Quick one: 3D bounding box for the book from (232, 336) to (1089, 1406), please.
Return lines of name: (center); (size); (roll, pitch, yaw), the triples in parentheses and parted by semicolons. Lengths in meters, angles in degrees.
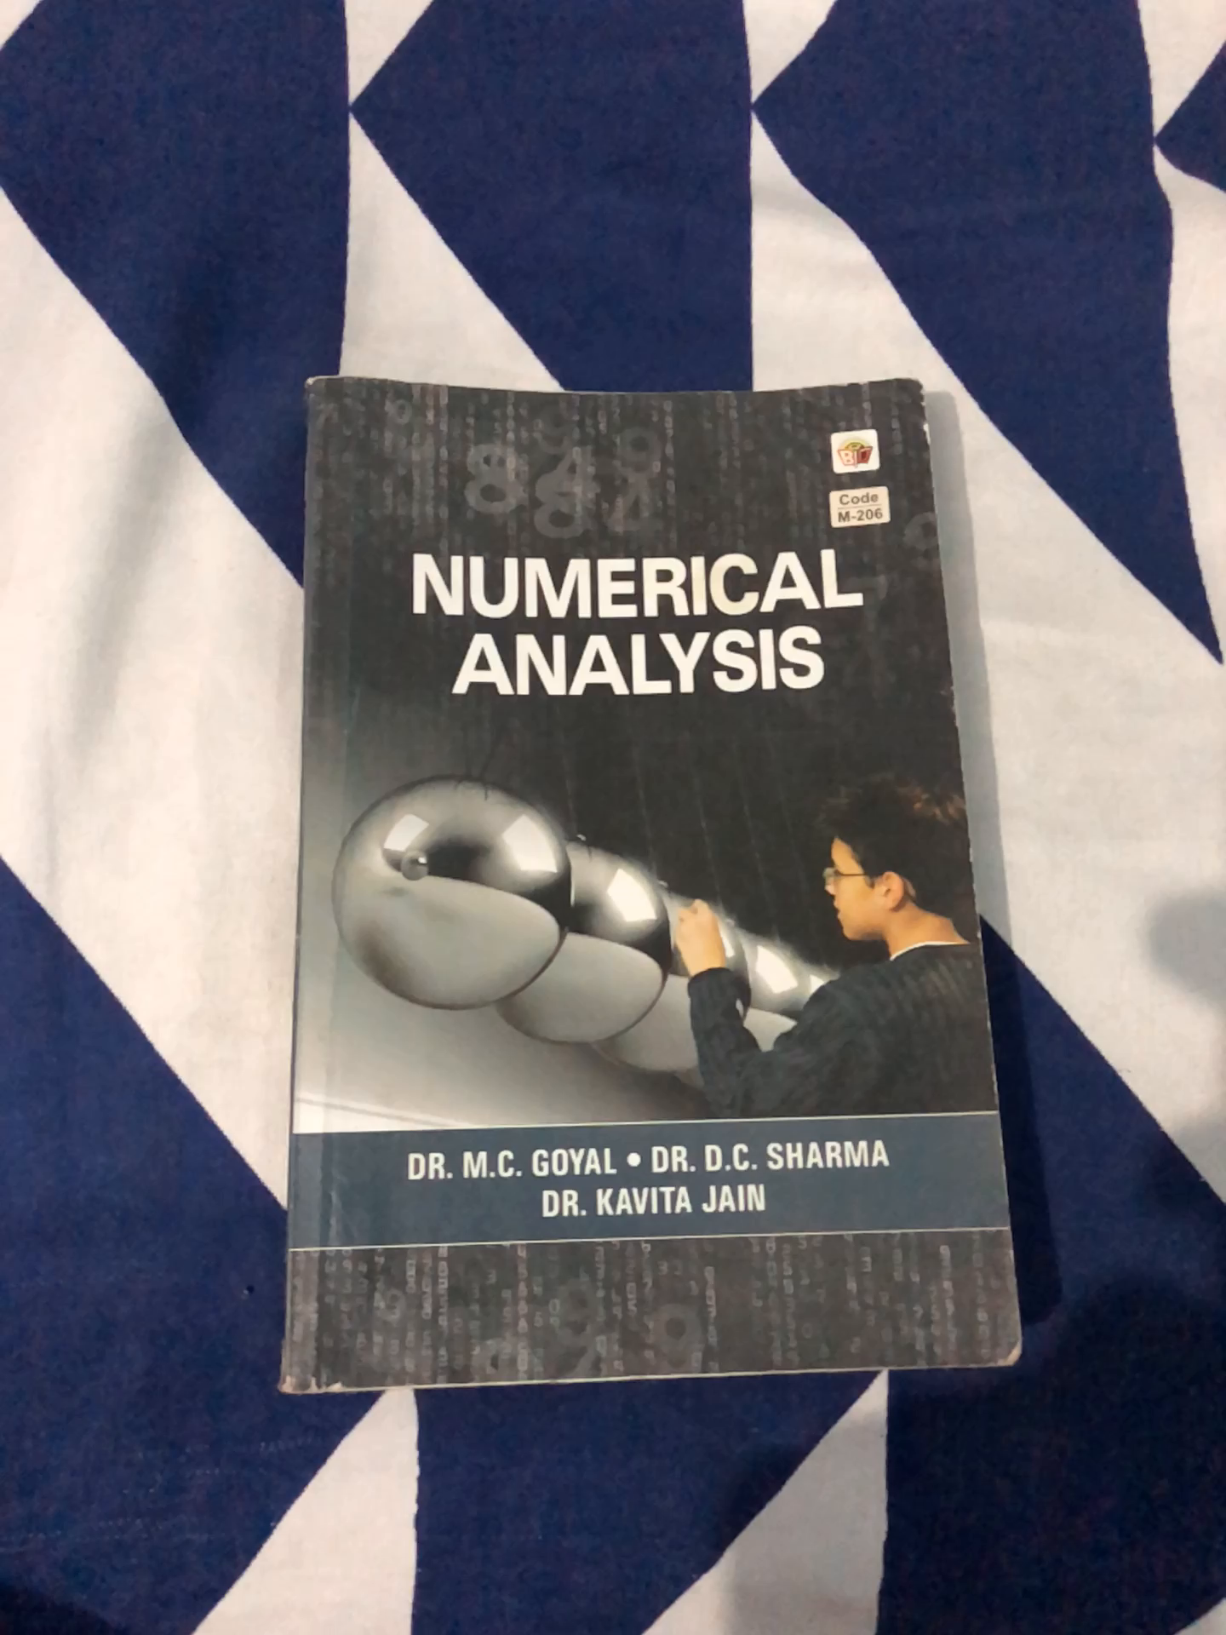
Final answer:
book: (0.005, 0.003, 0.259); (0.140, 0.030, 0.190); (-1, 77, -3)
